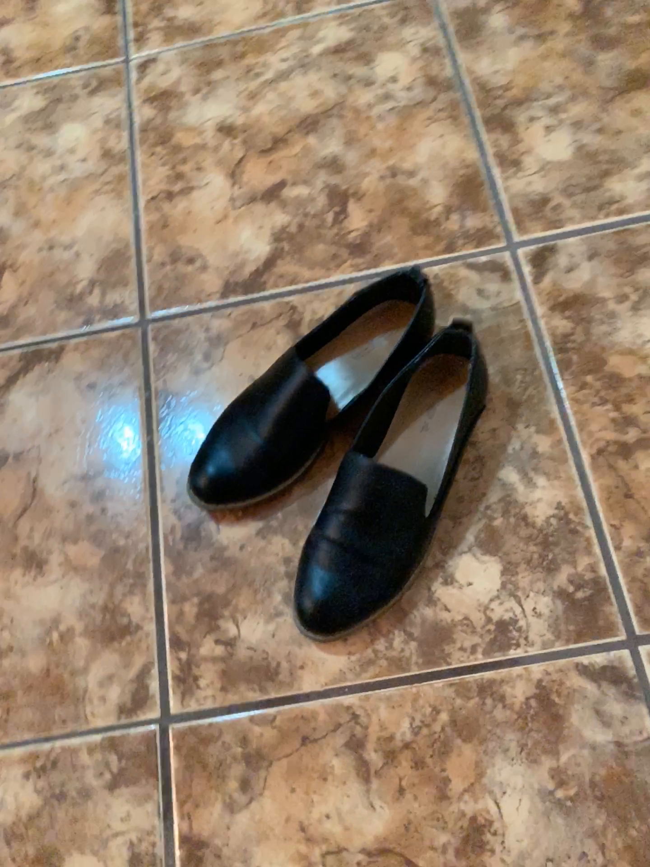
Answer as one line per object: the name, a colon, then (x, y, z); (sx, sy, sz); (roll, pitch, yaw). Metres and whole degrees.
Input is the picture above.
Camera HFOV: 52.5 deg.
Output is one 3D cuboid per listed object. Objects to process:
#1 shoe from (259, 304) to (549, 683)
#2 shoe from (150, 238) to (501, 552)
shoe: (0.063, 0.040, 0.481); (0.088, 0.070, 0.255); (27, 74, 16)
shoe: (0.005, -0.029, 0.506); (0.256, 0.070, 0.086); (-38, 69, -8)
